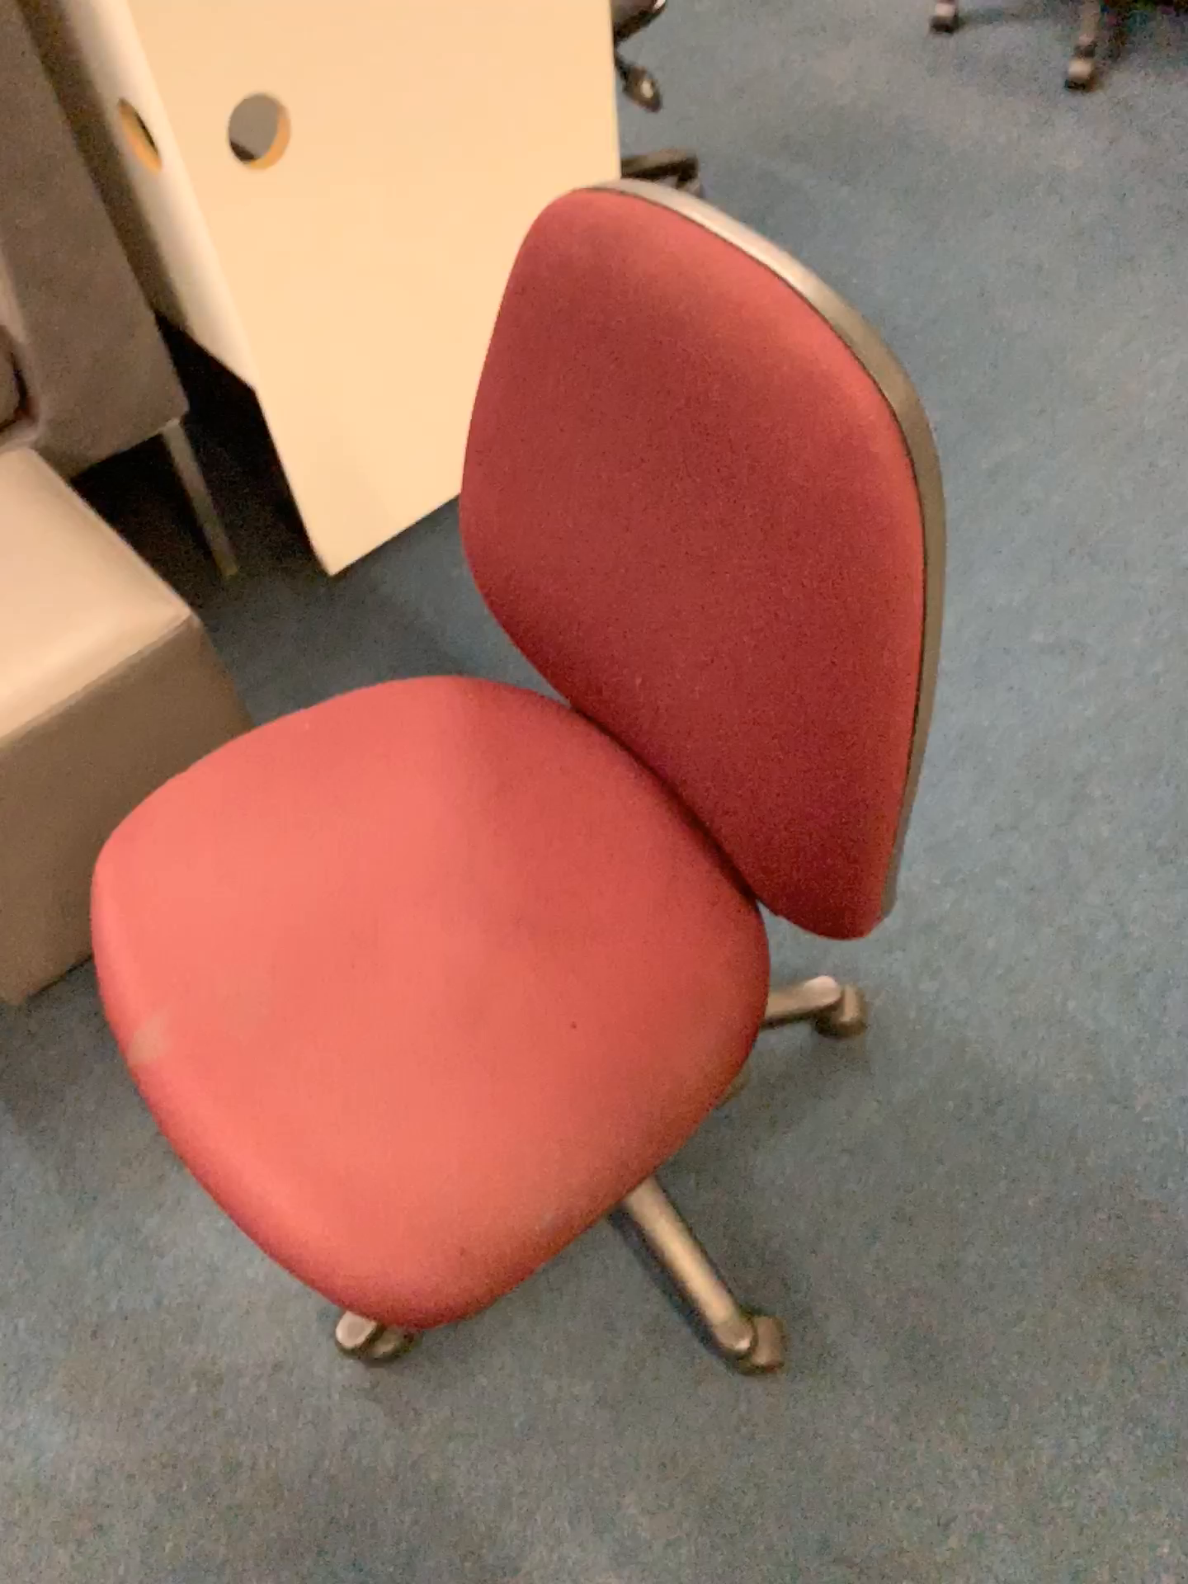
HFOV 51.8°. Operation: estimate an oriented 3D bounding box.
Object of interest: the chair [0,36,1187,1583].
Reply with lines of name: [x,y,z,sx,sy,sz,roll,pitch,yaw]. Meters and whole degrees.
chair: [-0.054,0.070,0.935,0.691,0.784,0.654,-34,59,-16]
